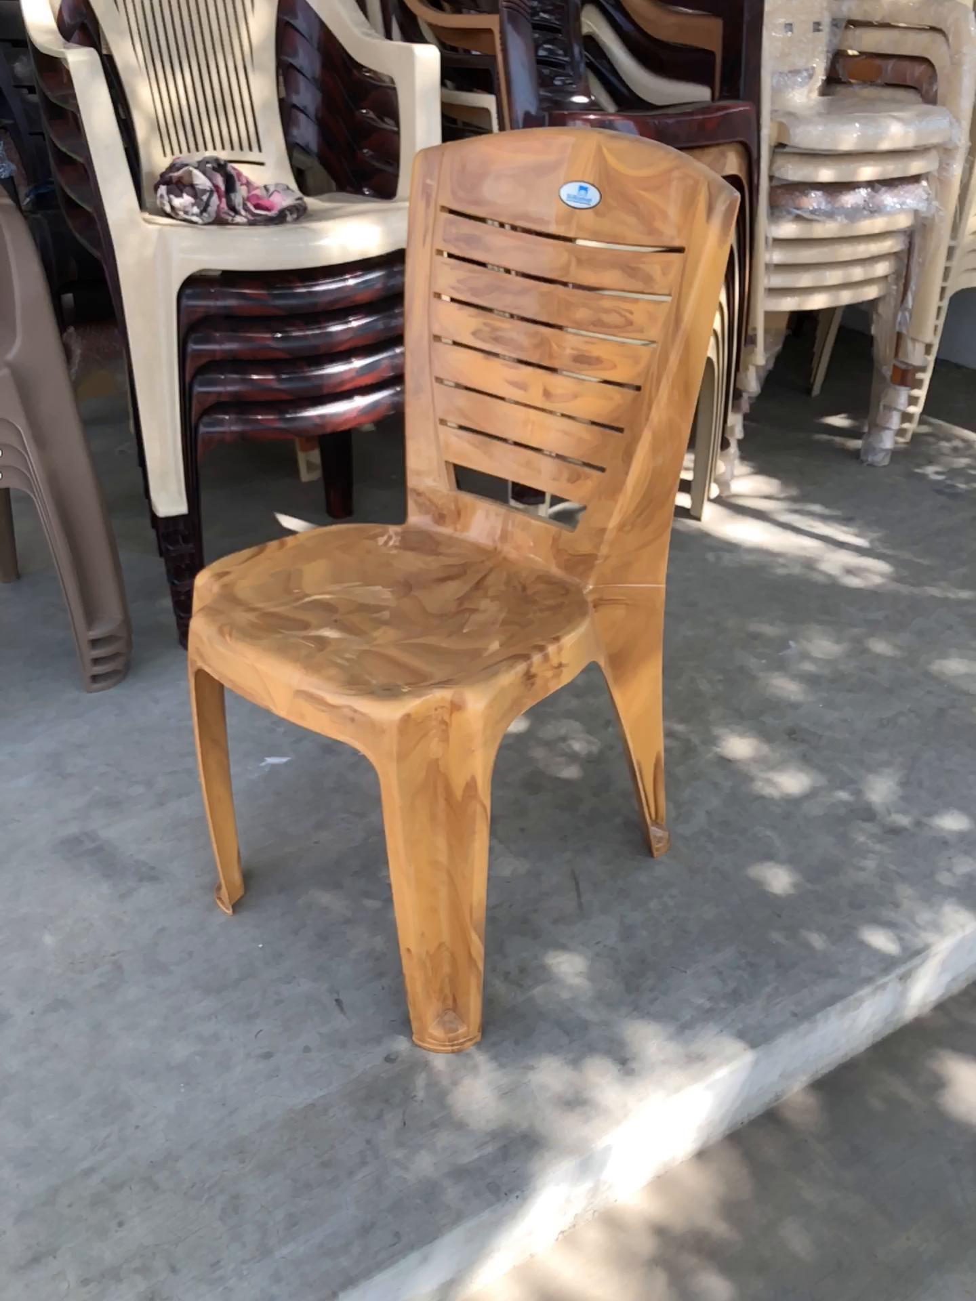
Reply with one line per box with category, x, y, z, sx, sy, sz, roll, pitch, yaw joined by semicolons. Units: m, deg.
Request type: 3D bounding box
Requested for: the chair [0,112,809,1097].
chair;-0.059;-0.101;1.176;0.500;0.815;0.563;21;37;30
